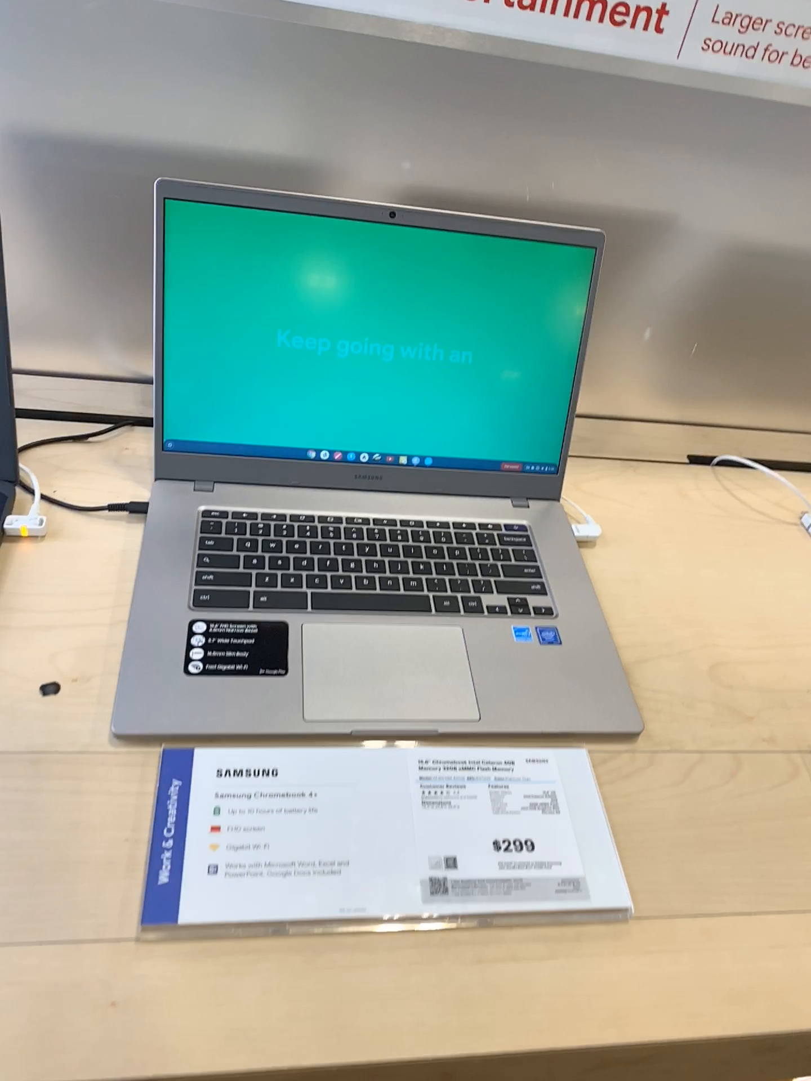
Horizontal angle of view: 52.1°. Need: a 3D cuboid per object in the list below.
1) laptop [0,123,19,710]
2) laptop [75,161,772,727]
[{"bbox_3d":[-0.447,-0.078,0.504,0.320,0.193,0.295,2,43,-12],"label":"laptop"},{"bbox_3d":[-0.012,-0.074,0.593,0.351,0.205,0.339,2,45,-11],"label":"laptop"}]
